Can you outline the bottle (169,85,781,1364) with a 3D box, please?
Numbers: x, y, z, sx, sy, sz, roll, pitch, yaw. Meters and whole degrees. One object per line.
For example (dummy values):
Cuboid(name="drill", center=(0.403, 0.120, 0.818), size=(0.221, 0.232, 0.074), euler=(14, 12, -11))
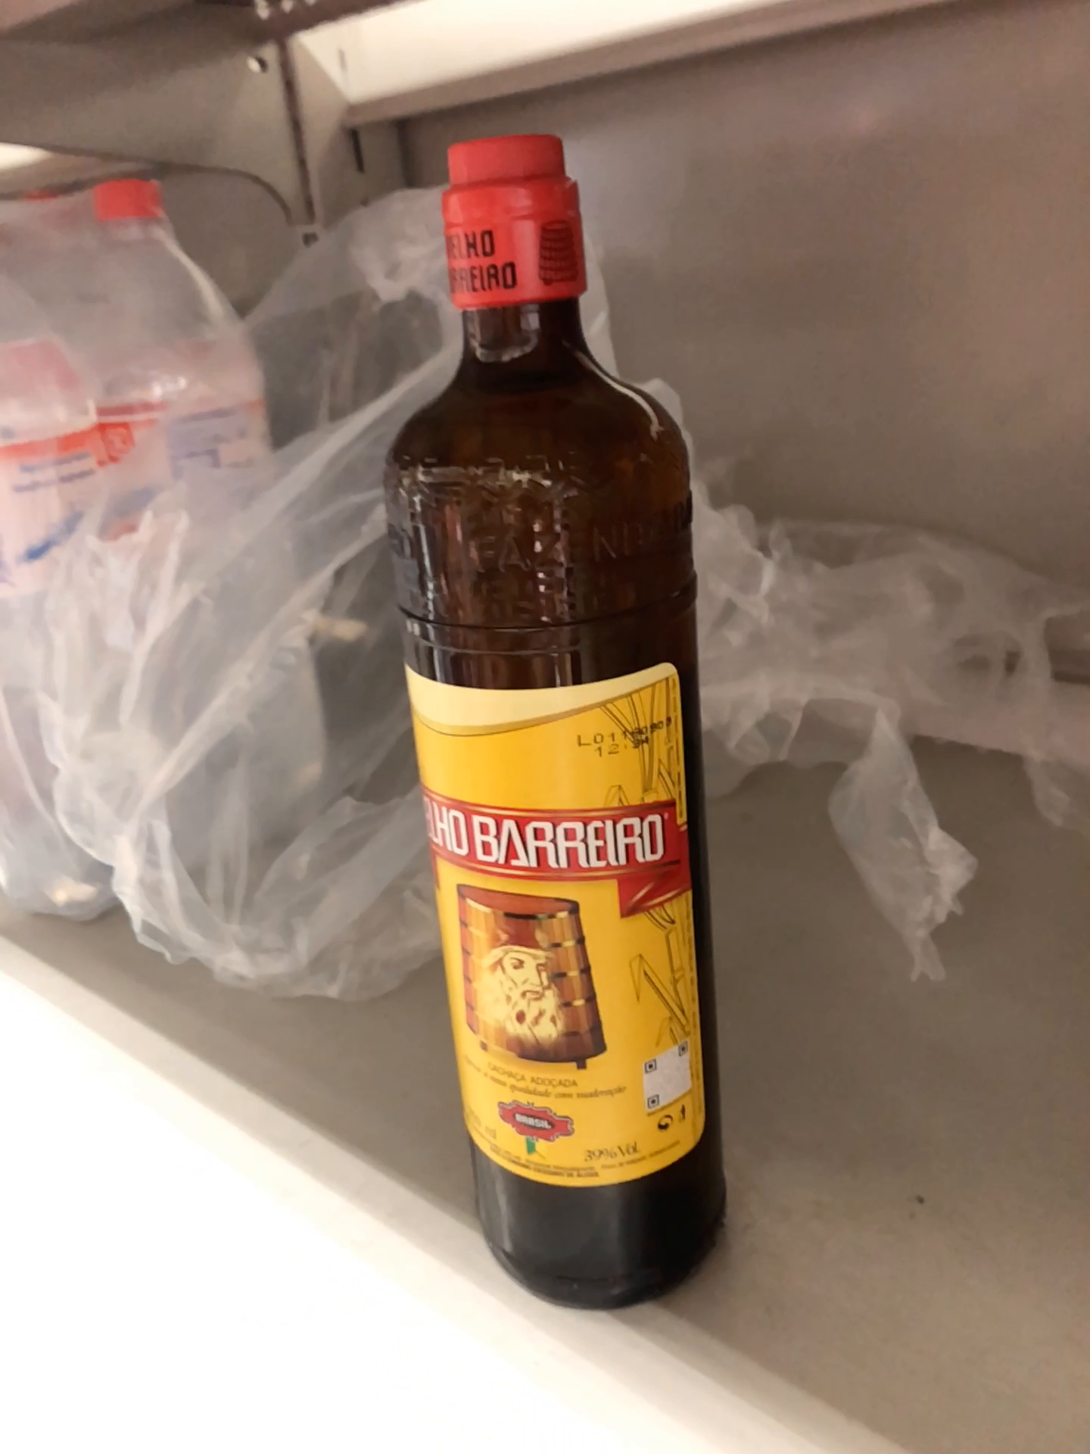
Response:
Cuboid(name="bottle", center=(-0.001, 0.009, 0.315), size=(0.090, 0.298, 0.080), euler=(3, 23, 26))
